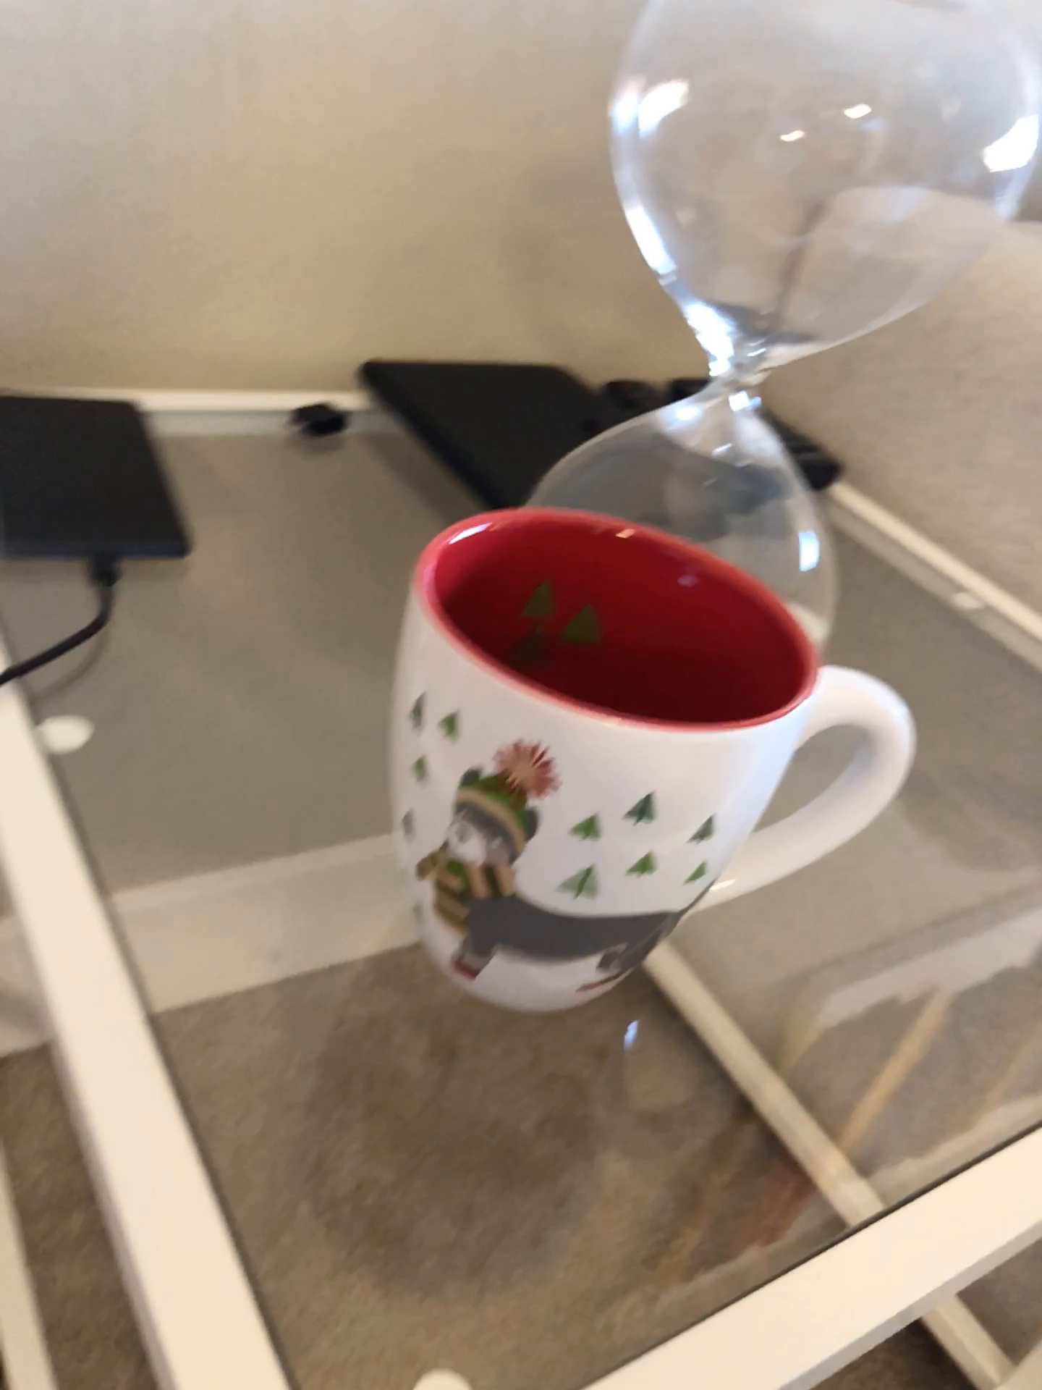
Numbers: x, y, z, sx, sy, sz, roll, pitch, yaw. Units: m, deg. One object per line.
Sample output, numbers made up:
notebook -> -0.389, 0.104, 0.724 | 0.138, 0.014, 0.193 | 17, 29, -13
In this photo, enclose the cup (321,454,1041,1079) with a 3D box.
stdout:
cup -> 0.032, 0.020, 0.308 | 0.150, 0.109, 0.100 | 7, 34, -11
